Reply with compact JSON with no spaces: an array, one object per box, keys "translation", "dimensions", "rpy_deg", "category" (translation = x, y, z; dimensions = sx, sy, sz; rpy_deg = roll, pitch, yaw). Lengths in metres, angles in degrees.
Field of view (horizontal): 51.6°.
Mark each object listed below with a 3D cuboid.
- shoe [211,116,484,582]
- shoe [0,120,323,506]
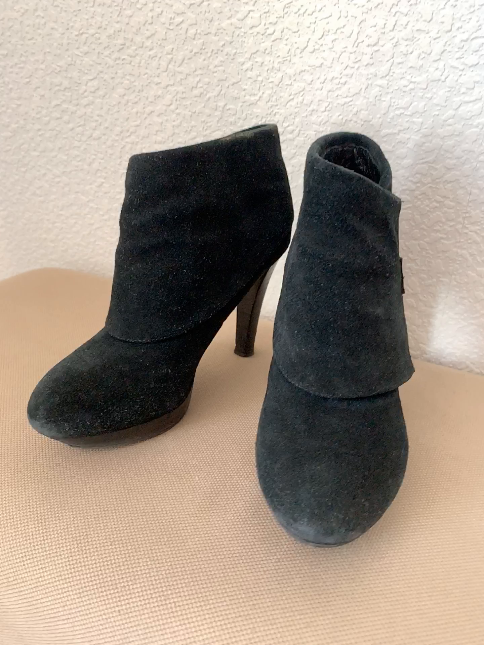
[{"translation":[0.051,-0.013,0.284],"dimensions":[0.090,0.166,0.218],"rpy_deg":[5,29,7],"category":"shoe"},{"translation":[-0.056,-0.028,0.323],"dimensions":[0.090,0.166,0.218],"rpy_deg":[26,38,37],"category":"shoe"}]
